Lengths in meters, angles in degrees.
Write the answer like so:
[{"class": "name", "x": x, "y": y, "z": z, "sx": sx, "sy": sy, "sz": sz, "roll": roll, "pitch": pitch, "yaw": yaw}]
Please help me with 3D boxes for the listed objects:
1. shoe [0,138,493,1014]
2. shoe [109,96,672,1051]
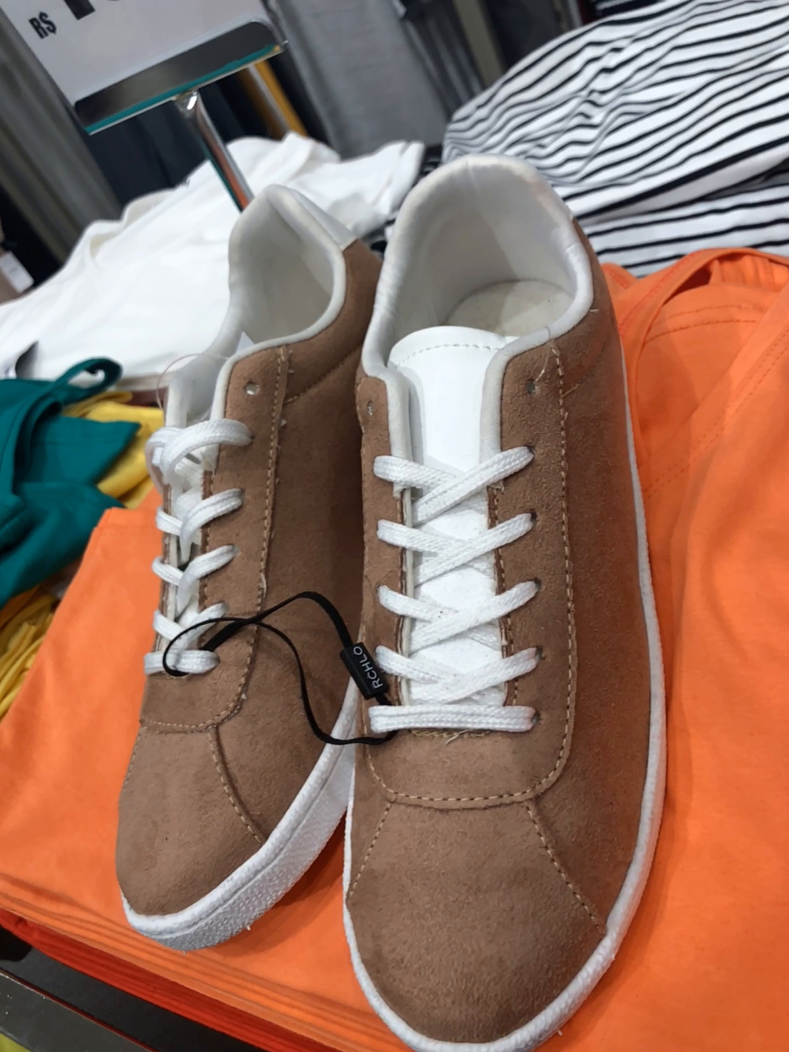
[{"class": "shoe", "x": -0.048, "y": 0.008, "z": 0.294, "sx": 0.090, "sy": 0.099, "sz": 0.251, "roll": -5, "pitch": 58, "yaw": 32}, {"class": "shoe", "x": 0.023, "y": 0.011, "z": 0.257, "sx": 0.090, "sy": 0.099, "sz": 0.251, "roll": -8, "pitch": 57, "yaw": 29}]
